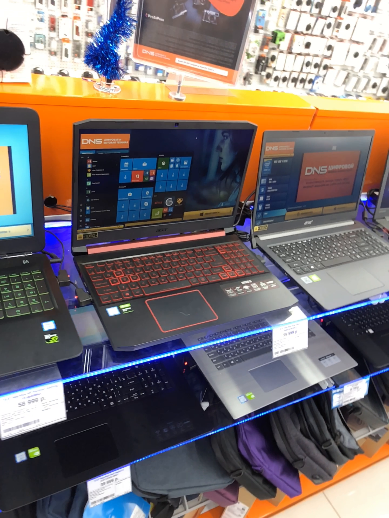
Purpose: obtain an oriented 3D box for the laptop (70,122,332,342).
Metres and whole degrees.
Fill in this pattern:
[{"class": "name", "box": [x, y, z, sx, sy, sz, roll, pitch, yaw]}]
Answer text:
[{"class": "laptop", "box": [-0.008, -0.068, 0.730, 0.329, 0.231, 0.251, -9, 41, -30]}]
